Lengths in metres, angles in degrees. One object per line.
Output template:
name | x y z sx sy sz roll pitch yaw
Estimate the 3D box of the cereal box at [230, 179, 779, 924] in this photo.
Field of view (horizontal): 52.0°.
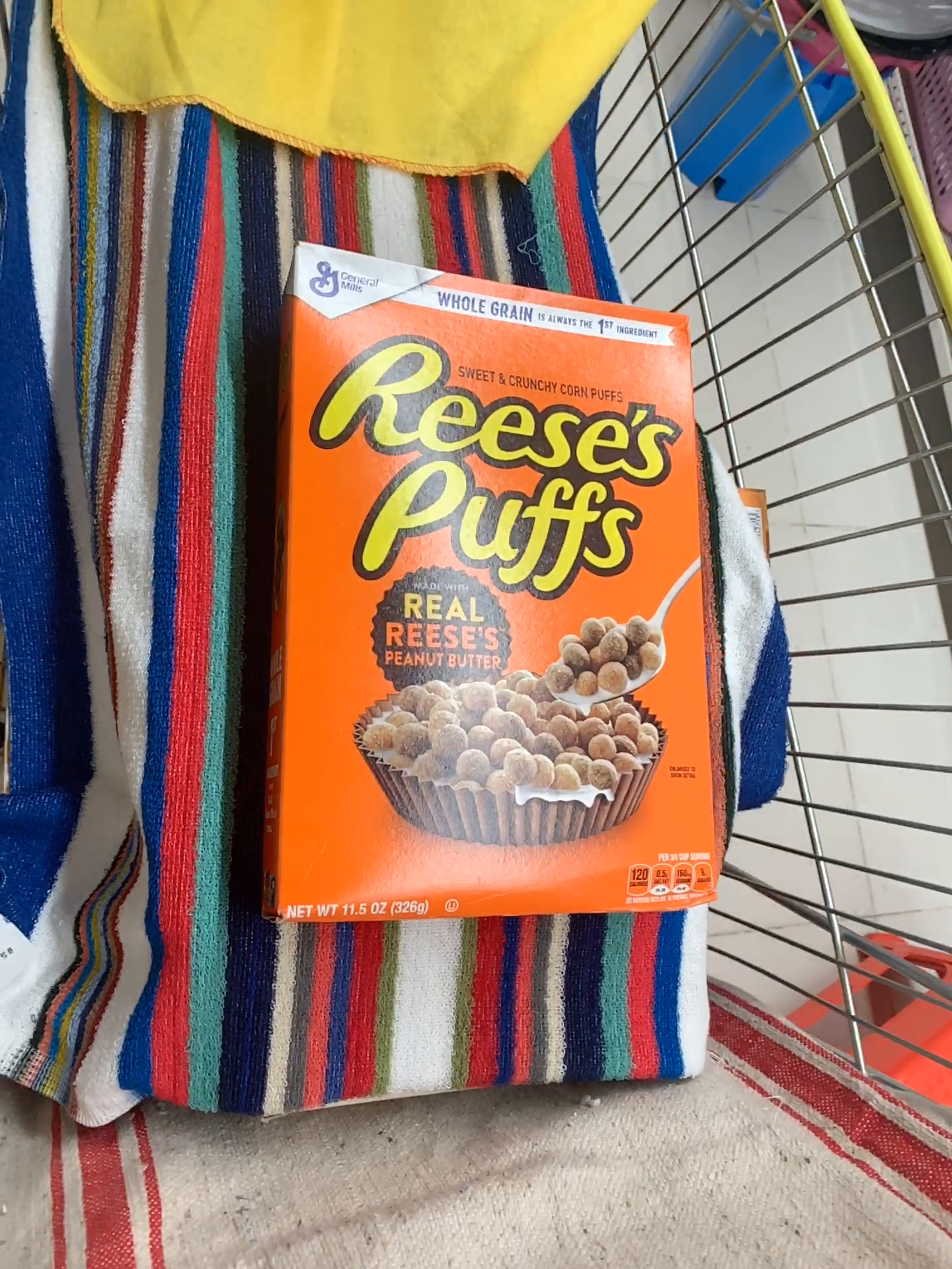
cereal box | 0.012 -0.024 0.403 0.200 0.080 0.260 4 81 -19
